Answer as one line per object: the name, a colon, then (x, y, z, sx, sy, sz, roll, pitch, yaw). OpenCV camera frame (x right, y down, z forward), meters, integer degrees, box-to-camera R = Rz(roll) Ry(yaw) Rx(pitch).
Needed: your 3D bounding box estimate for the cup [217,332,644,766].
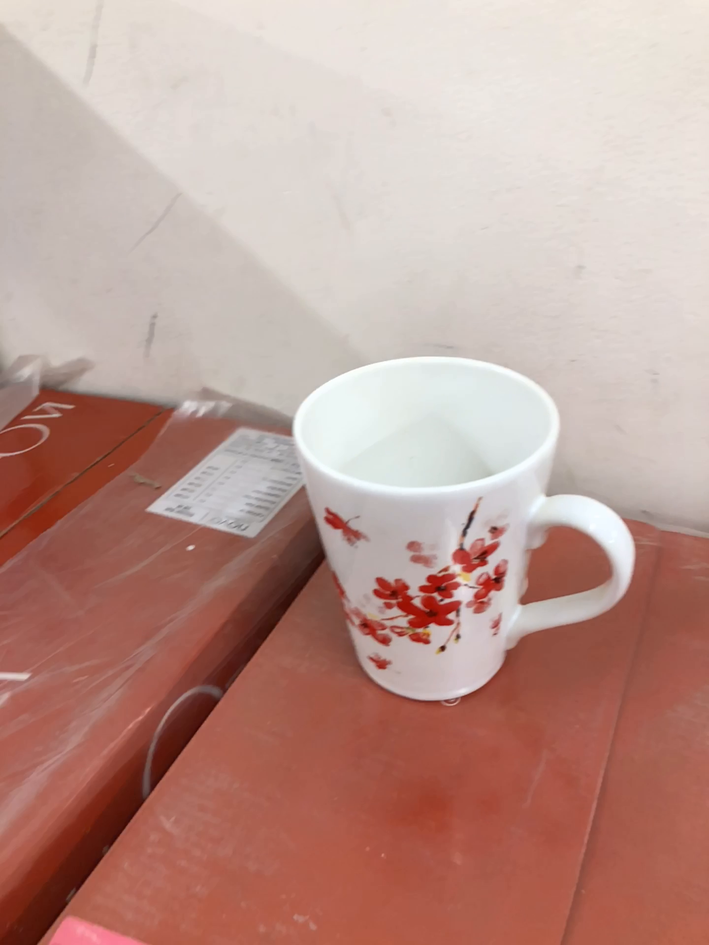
cup: (0.030, 0.020, 0.265, 0.110, 0.099, 0.081, 9, 36, 20)
